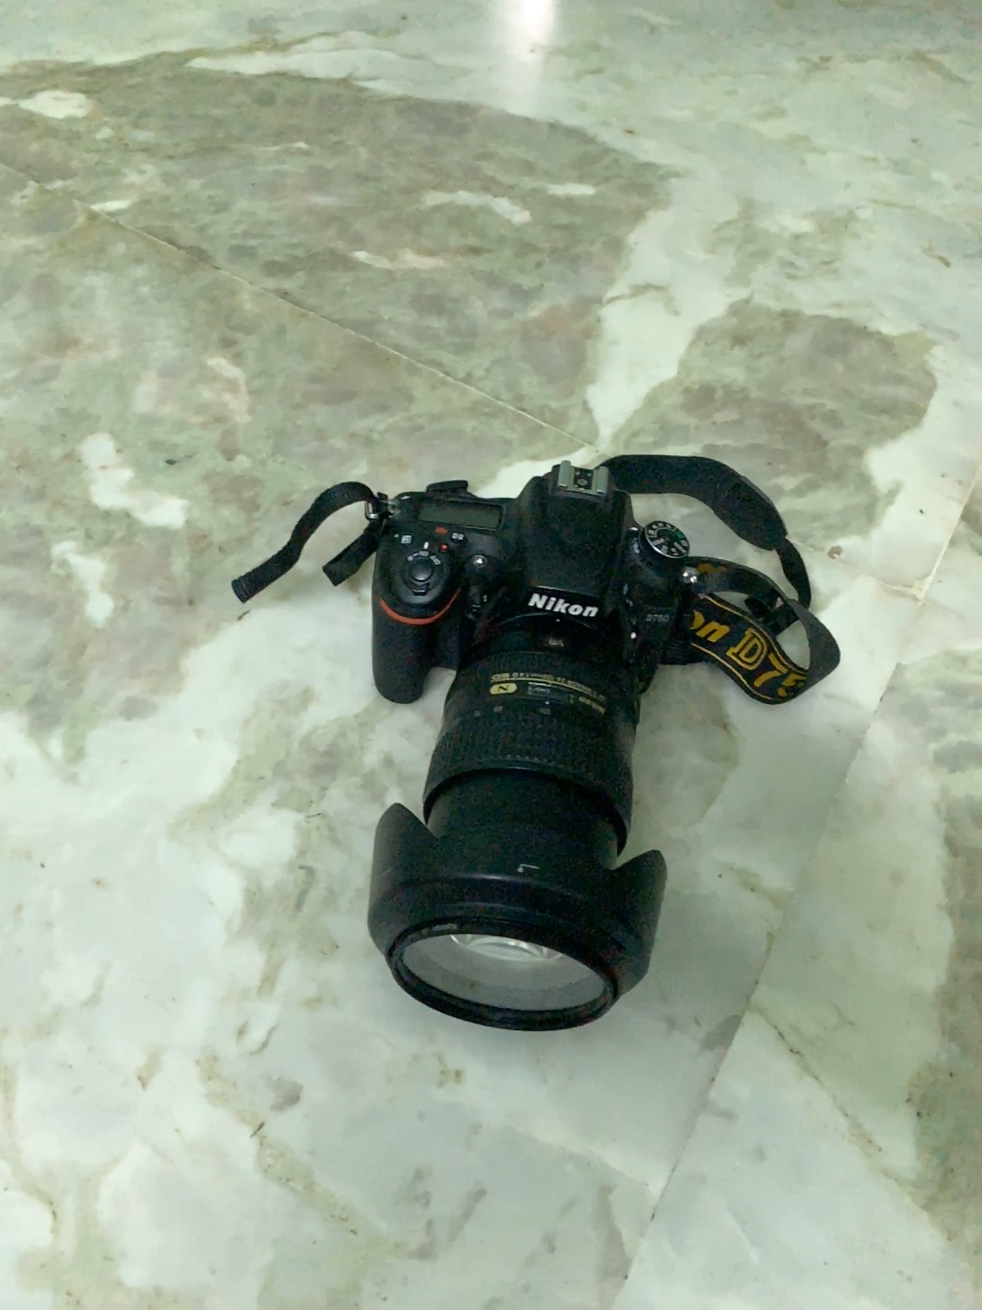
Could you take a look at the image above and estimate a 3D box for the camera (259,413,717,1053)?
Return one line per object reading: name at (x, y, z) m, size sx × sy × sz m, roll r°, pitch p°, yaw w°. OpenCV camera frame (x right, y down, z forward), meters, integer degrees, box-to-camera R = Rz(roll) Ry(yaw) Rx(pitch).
camera at (0.006, 0.021, 0.381) m, size 0.130 × 0.090 × 0.211 m, roll 8°, pitch 54°, yaw -1°
